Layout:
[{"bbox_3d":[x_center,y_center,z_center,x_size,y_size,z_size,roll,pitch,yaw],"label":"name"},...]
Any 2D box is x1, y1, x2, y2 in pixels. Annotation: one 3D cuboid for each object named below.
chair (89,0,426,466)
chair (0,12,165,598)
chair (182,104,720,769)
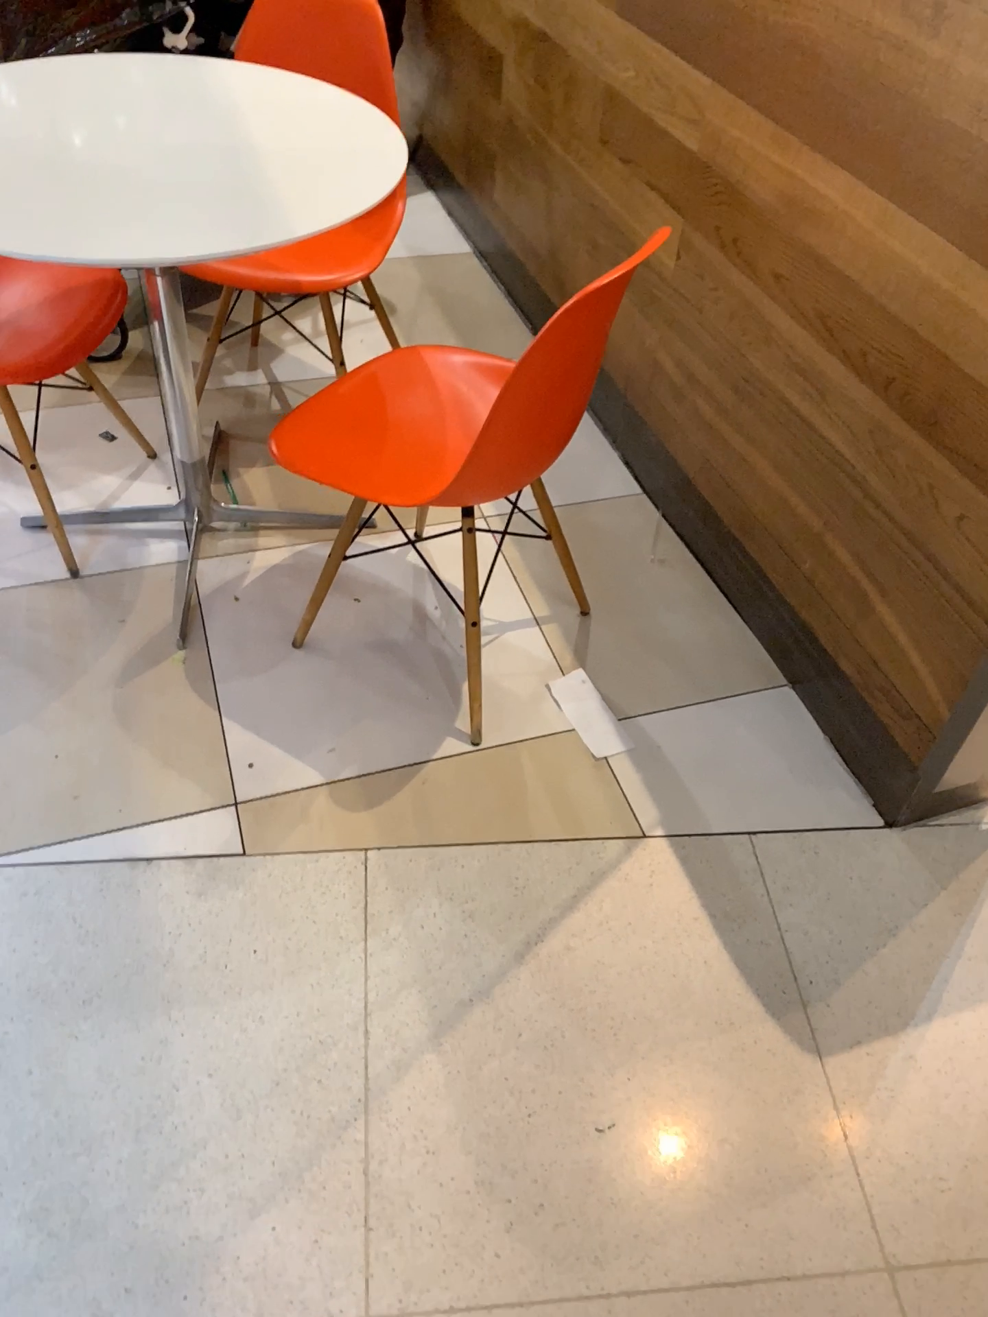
[{"bbox_3d":[-0.420,-0.886,2.063,0.447,0.742,0.525,9,45,3],"label":"chair"},{"bbox_3d":[-0.938,-0.567,1.703,0.510,0.762,0.452,7,45,1],"label":"chair"},{"bbox_3d":[-0.066,-0.328,1.540,0.522,0.742,0.451,26,49,19],"label":"chair"}]
